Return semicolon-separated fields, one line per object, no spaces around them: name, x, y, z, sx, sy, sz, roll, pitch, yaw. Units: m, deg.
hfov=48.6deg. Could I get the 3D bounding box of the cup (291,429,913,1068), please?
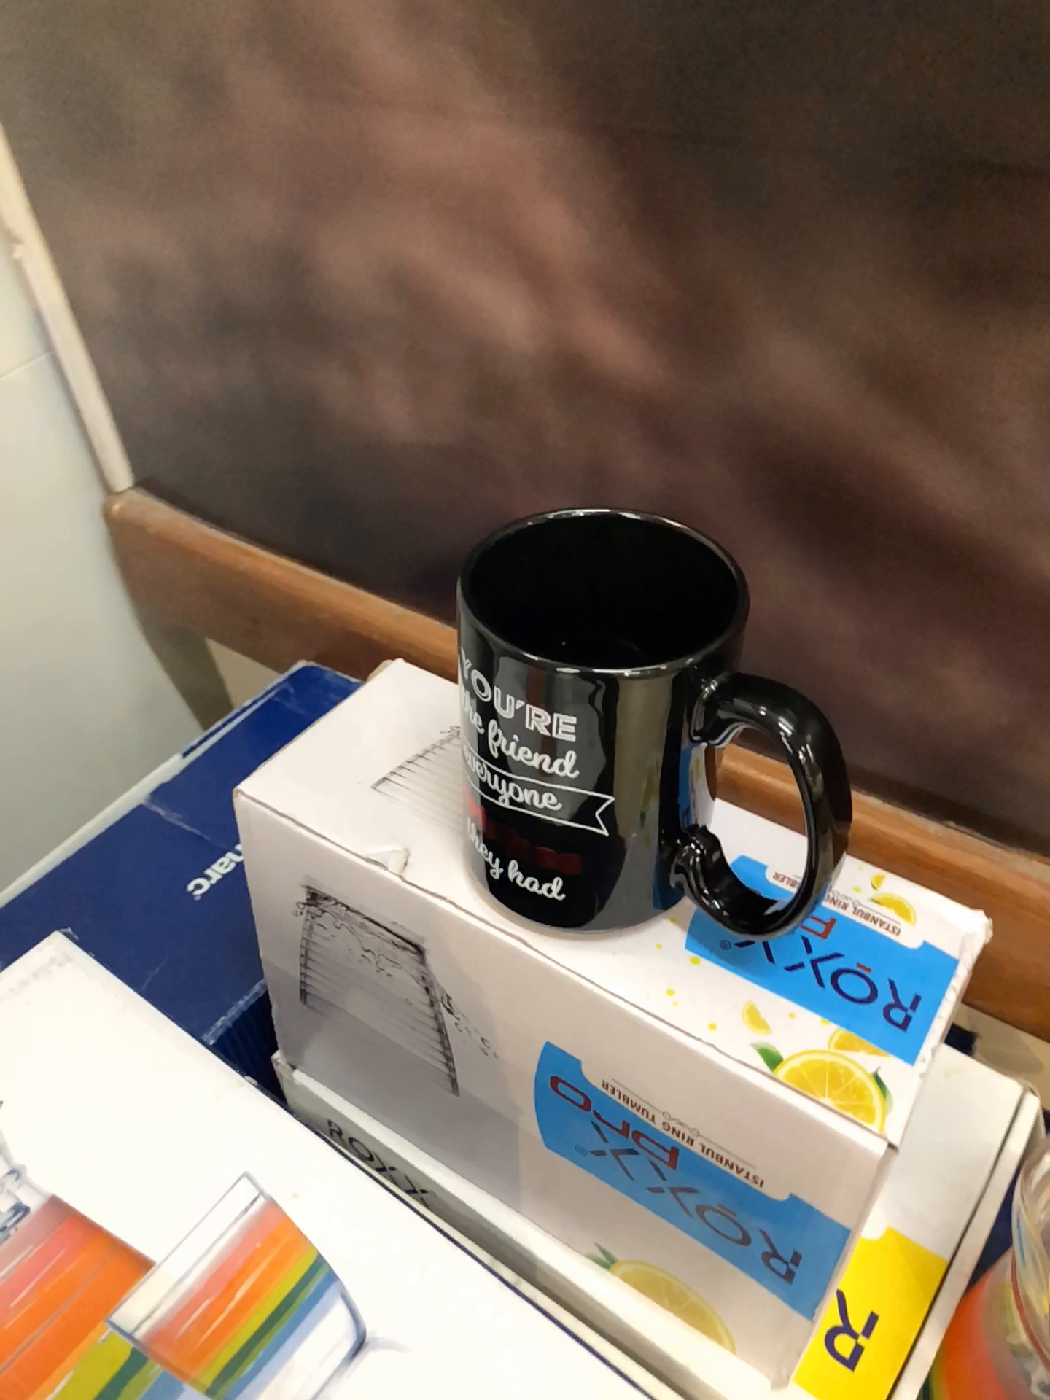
cup;0.019;0.006;0.328;0.130;0.109;0.090;25;43;31
